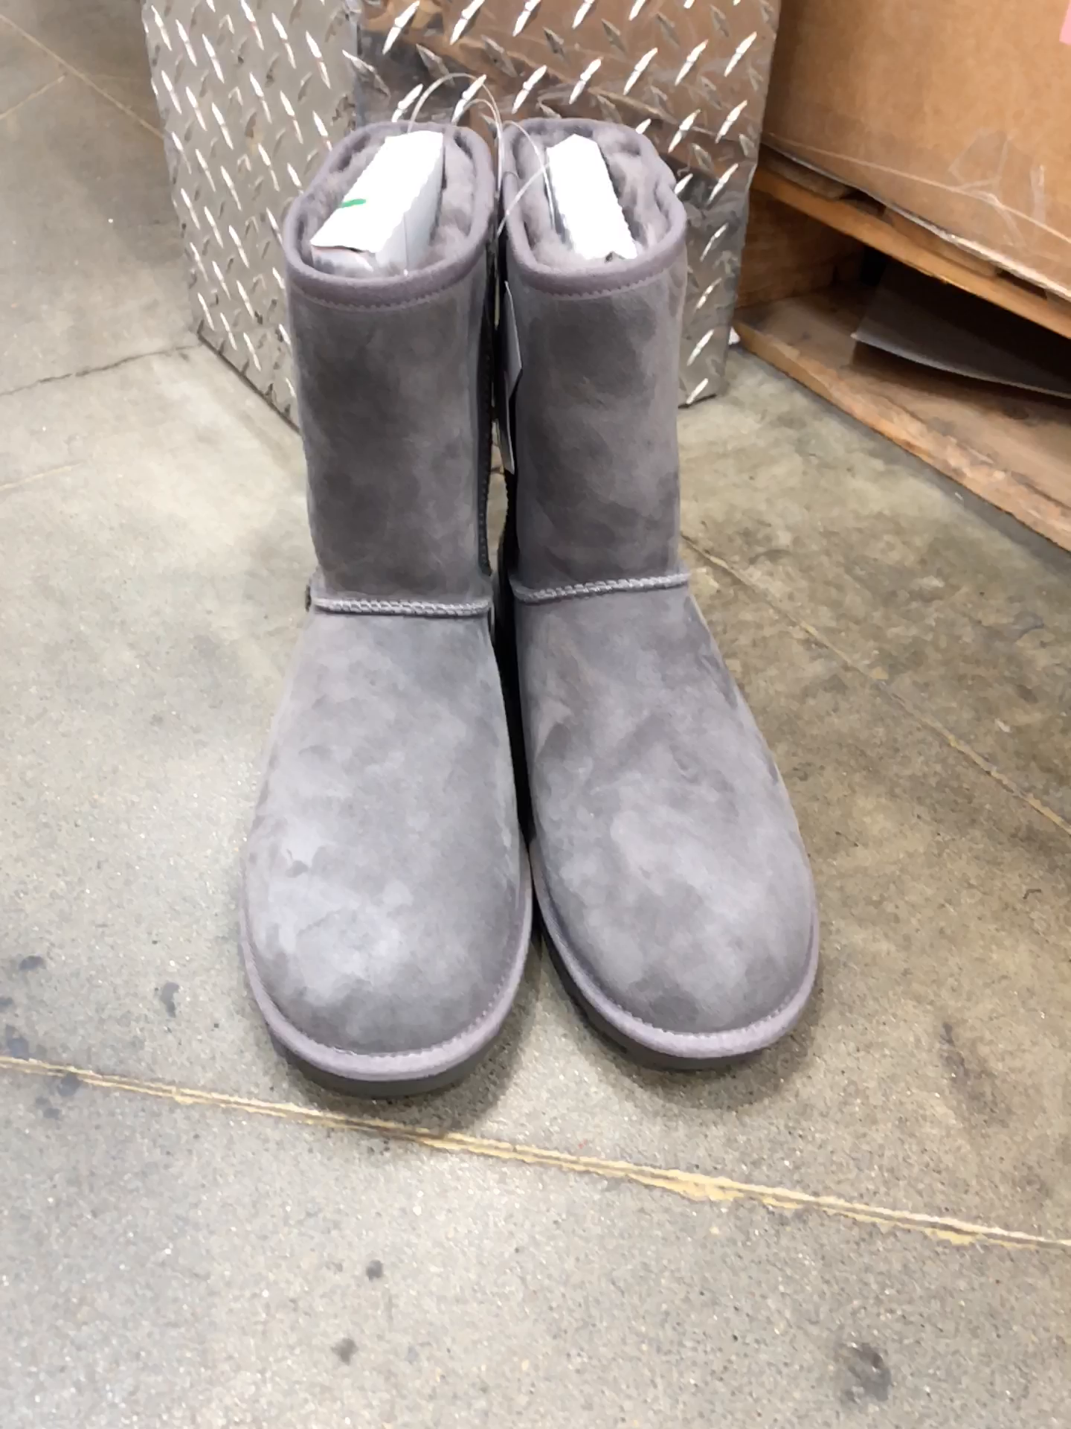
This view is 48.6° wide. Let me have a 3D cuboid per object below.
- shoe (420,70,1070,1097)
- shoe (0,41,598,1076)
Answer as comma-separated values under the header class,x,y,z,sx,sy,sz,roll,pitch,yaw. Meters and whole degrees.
class,x,y,z,sx,sy,sz,roll,pitch,yaw
shoe,0.033,-0.058,0.419,0.110,0.239,0.271,-6,43,-9
shoe,-0.056,-0.064,0.416,0.120,0.239,0.281,1,42,-3
